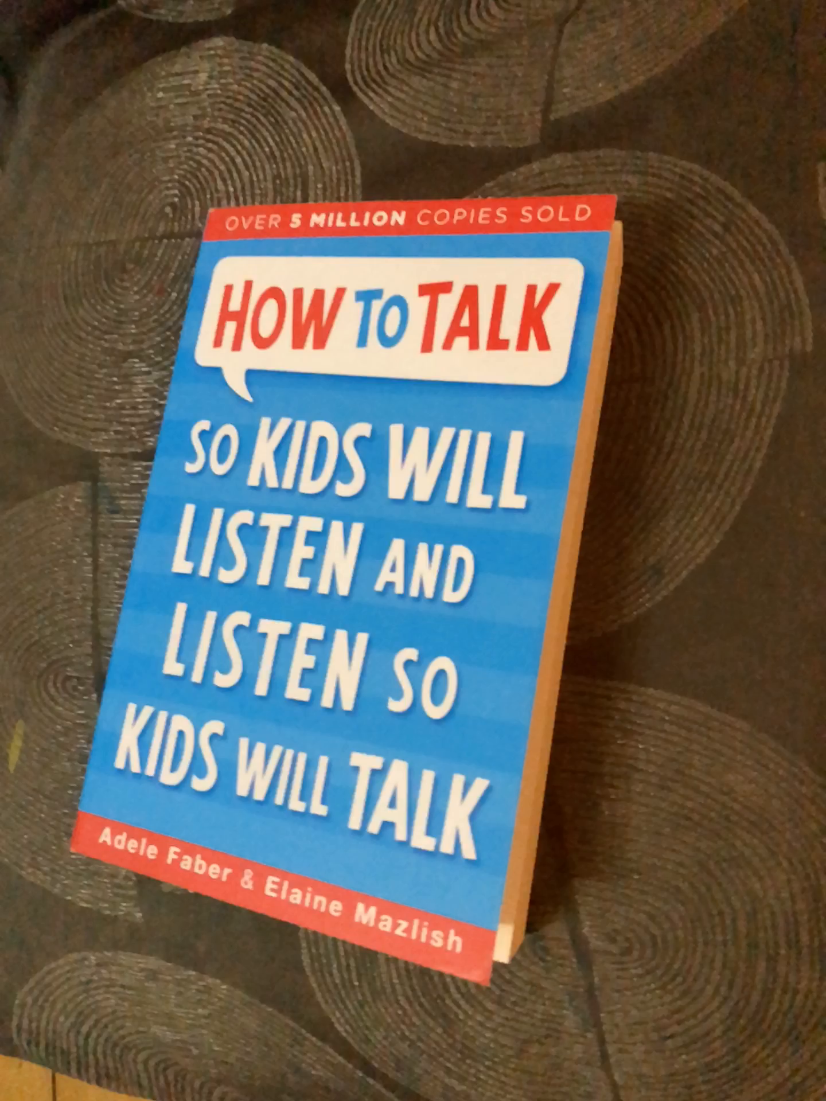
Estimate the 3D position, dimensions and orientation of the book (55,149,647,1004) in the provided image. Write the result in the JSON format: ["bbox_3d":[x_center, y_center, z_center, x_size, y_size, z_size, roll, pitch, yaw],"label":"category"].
[{"bbox_3d":[-0.019,-0.003,0.261,0.140,0.030,0.210,7,86,22],"label":"book"}]
